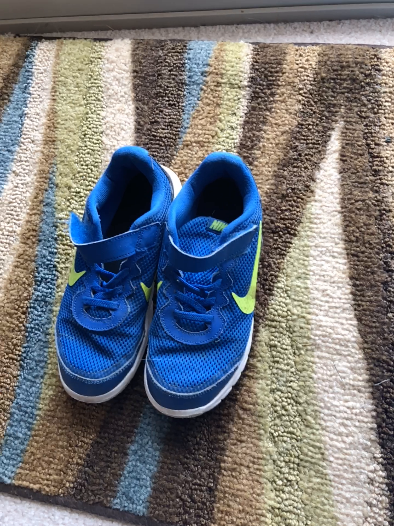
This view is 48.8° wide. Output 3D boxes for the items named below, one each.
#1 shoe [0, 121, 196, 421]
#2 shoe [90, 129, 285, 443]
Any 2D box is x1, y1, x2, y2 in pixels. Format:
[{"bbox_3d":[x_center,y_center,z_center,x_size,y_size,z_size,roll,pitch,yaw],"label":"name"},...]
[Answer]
[{"bbox_3d":[-0.086,0.003,0.384,0.102,0.075,0.233,13,75,12],"label":"shoe"},{"bbox_3d":[0.002,0.014,0.367,0.103,0.075,0.231,9,75,11],"label":"shoe"}]
